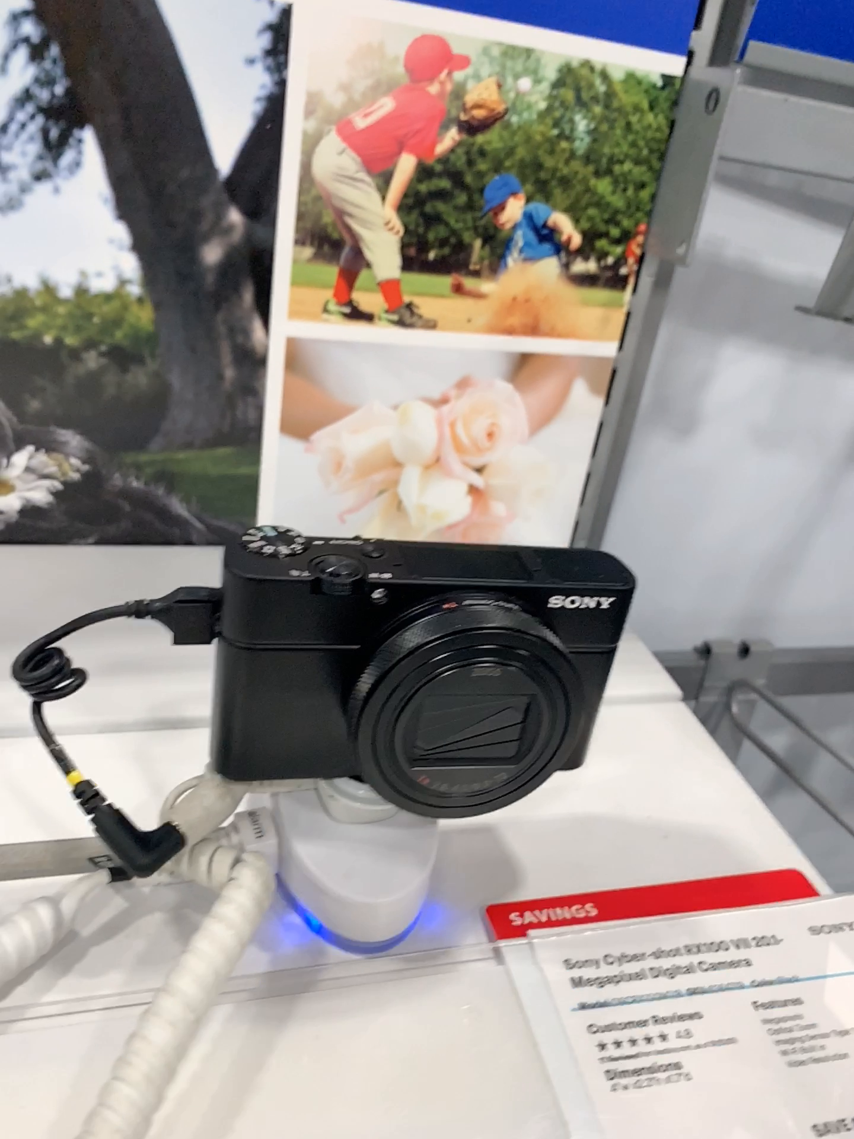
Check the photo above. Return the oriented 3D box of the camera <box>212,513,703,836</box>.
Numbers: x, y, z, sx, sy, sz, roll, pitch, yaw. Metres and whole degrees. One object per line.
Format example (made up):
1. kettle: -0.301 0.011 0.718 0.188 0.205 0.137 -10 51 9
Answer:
1. camera: 0.003 0.025 0.220 0.105 0.060 0.043 2 27 -16
